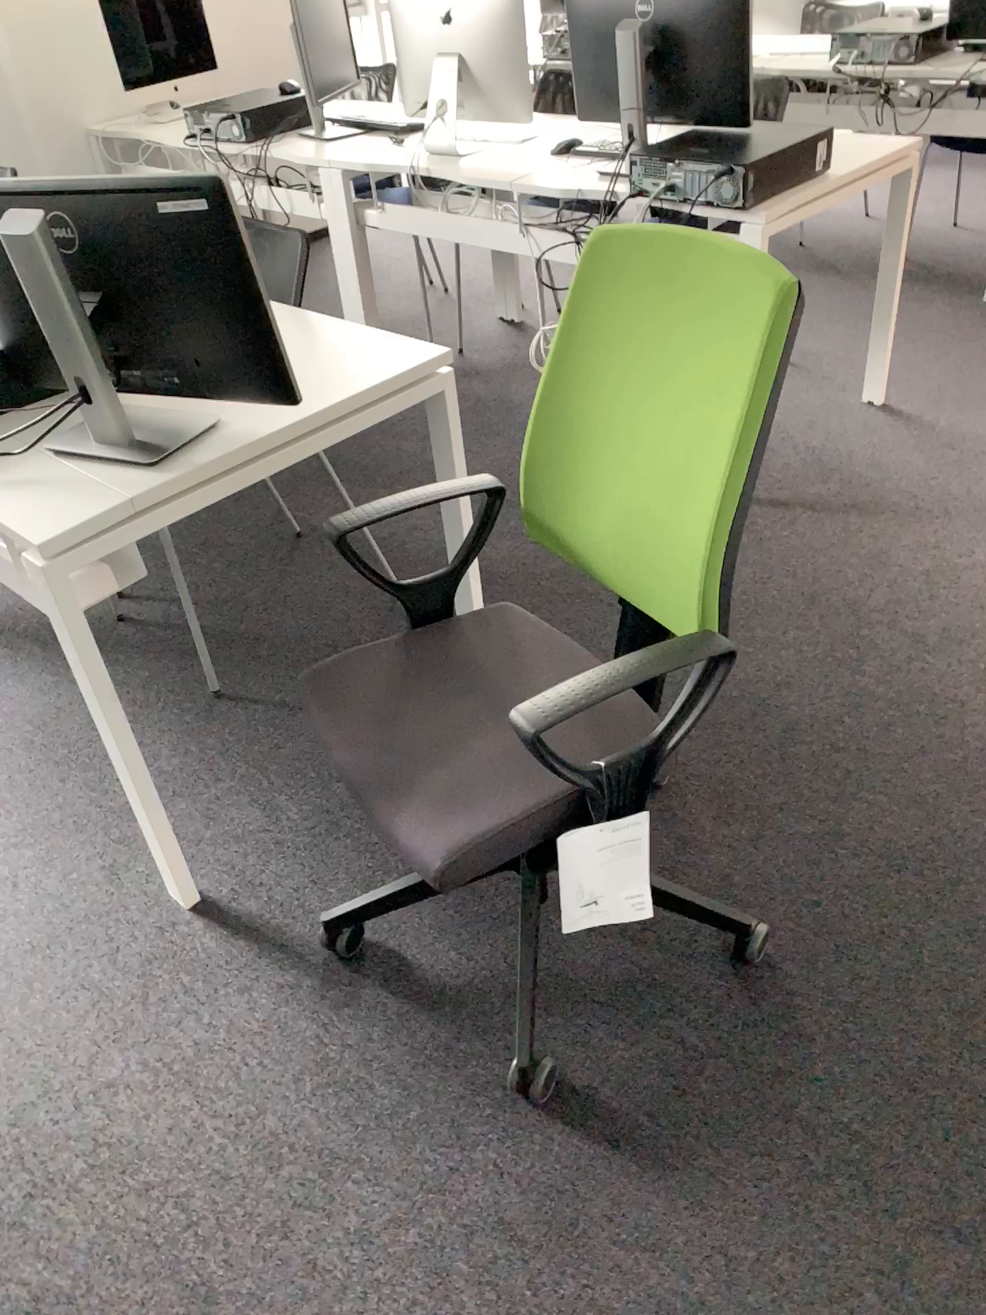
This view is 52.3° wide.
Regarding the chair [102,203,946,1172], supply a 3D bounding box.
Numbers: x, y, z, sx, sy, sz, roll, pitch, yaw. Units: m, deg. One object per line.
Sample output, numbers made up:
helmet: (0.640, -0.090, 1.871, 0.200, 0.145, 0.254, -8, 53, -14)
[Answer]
chair: (0.050, 0.016, 1.472, 0.761, 1.044, 0.623, -24, 40, -23)
